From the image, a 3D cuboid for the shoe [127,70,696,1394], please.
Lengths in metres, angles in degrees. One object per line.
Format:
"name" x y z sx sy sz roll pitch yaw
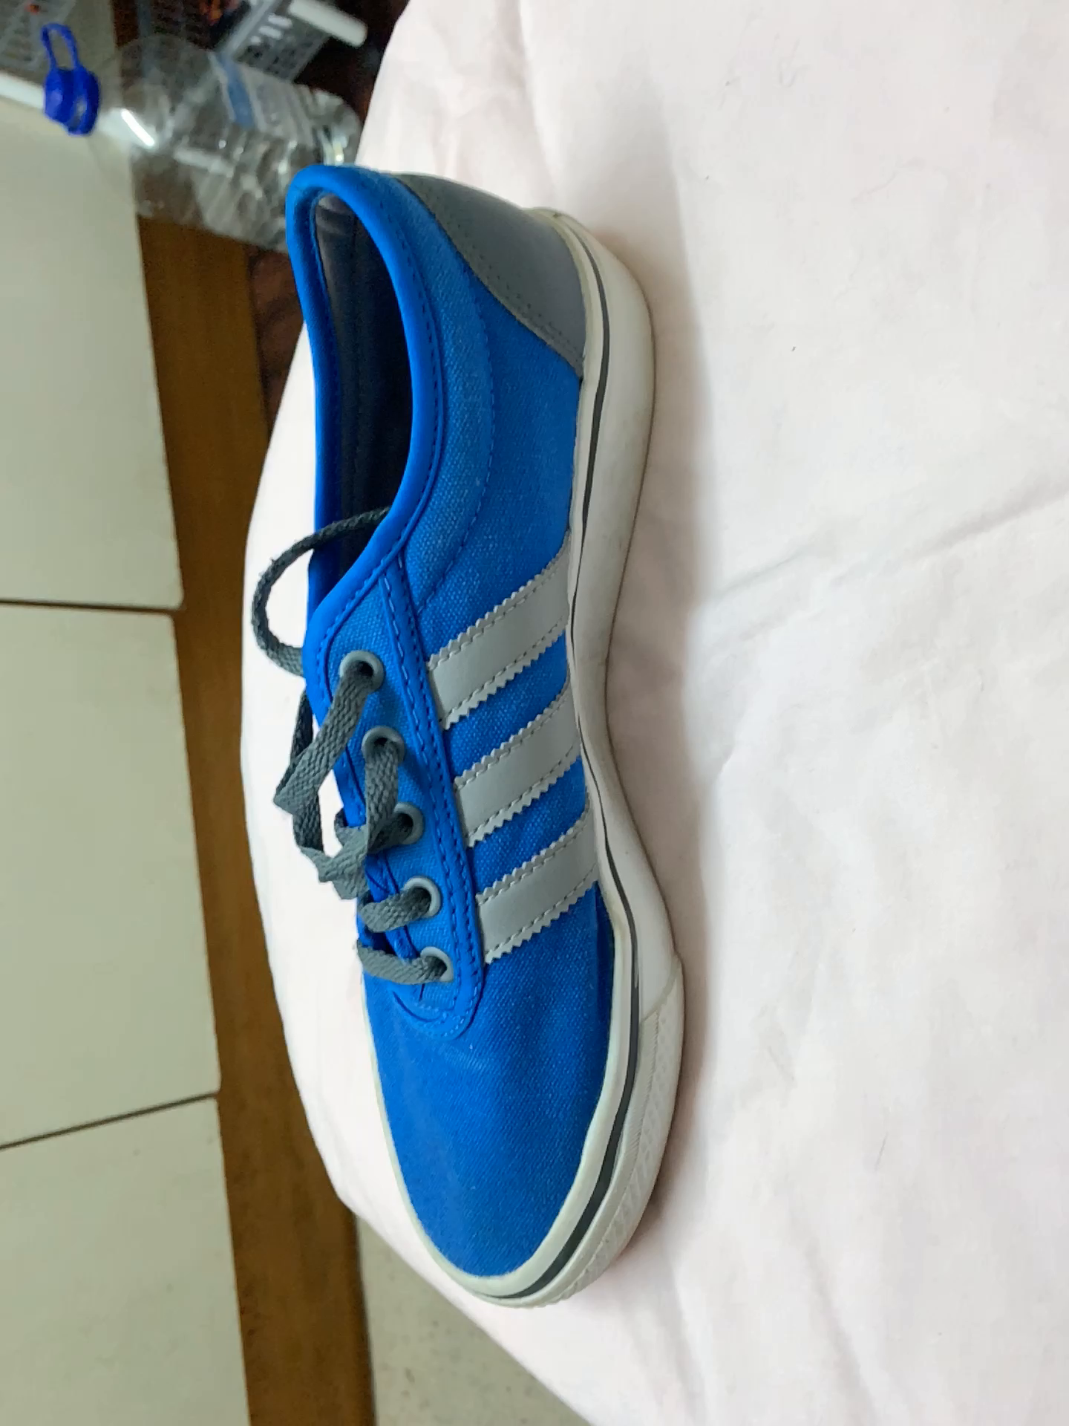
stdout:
"shoe" -0.031 0.003 0.262 0.101 0.089 0.234 0 90 47
